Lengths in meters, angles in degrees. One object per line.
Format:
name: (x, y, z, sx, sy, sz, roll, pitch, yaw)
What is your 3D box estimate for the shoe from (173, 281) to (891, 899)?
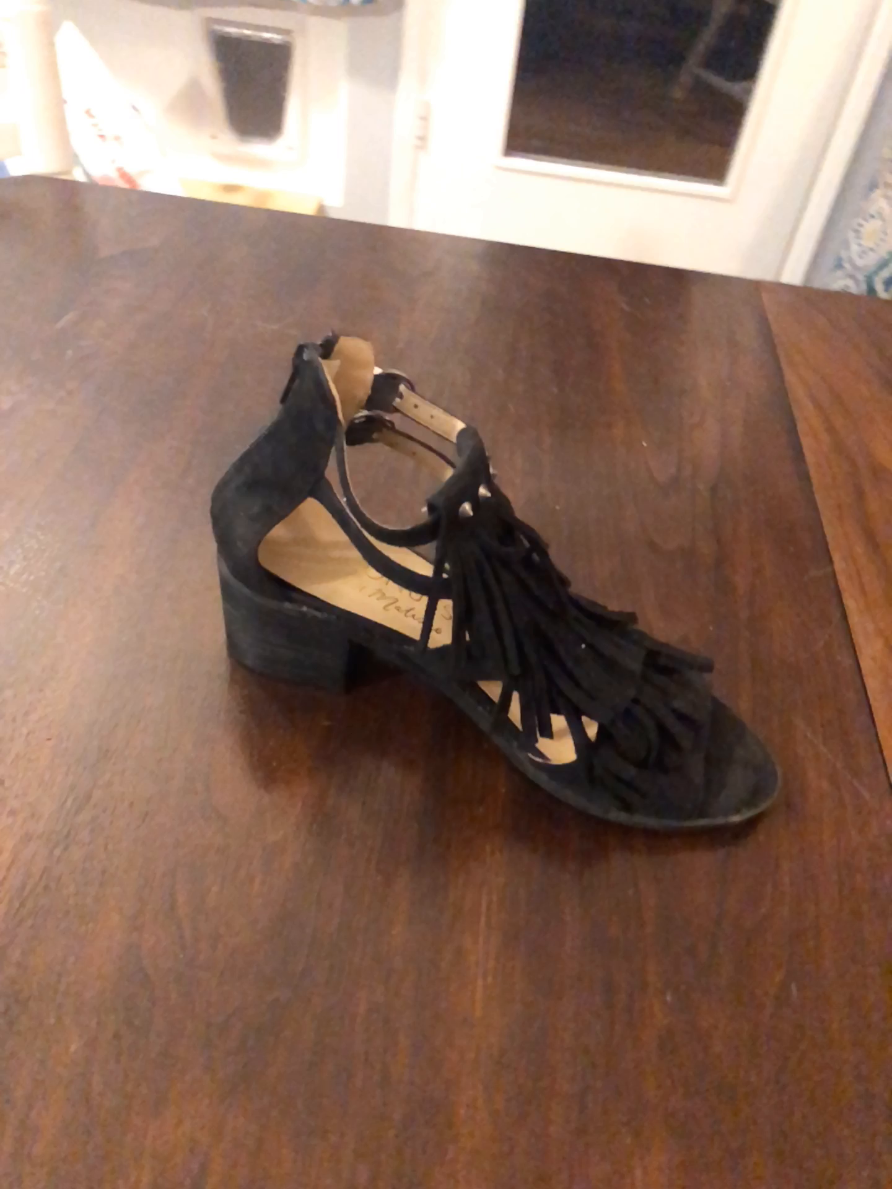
shoe: (0.031, -0.003, 0.391, 0.240, 0.150, 0.100, 19, 45, 10)
